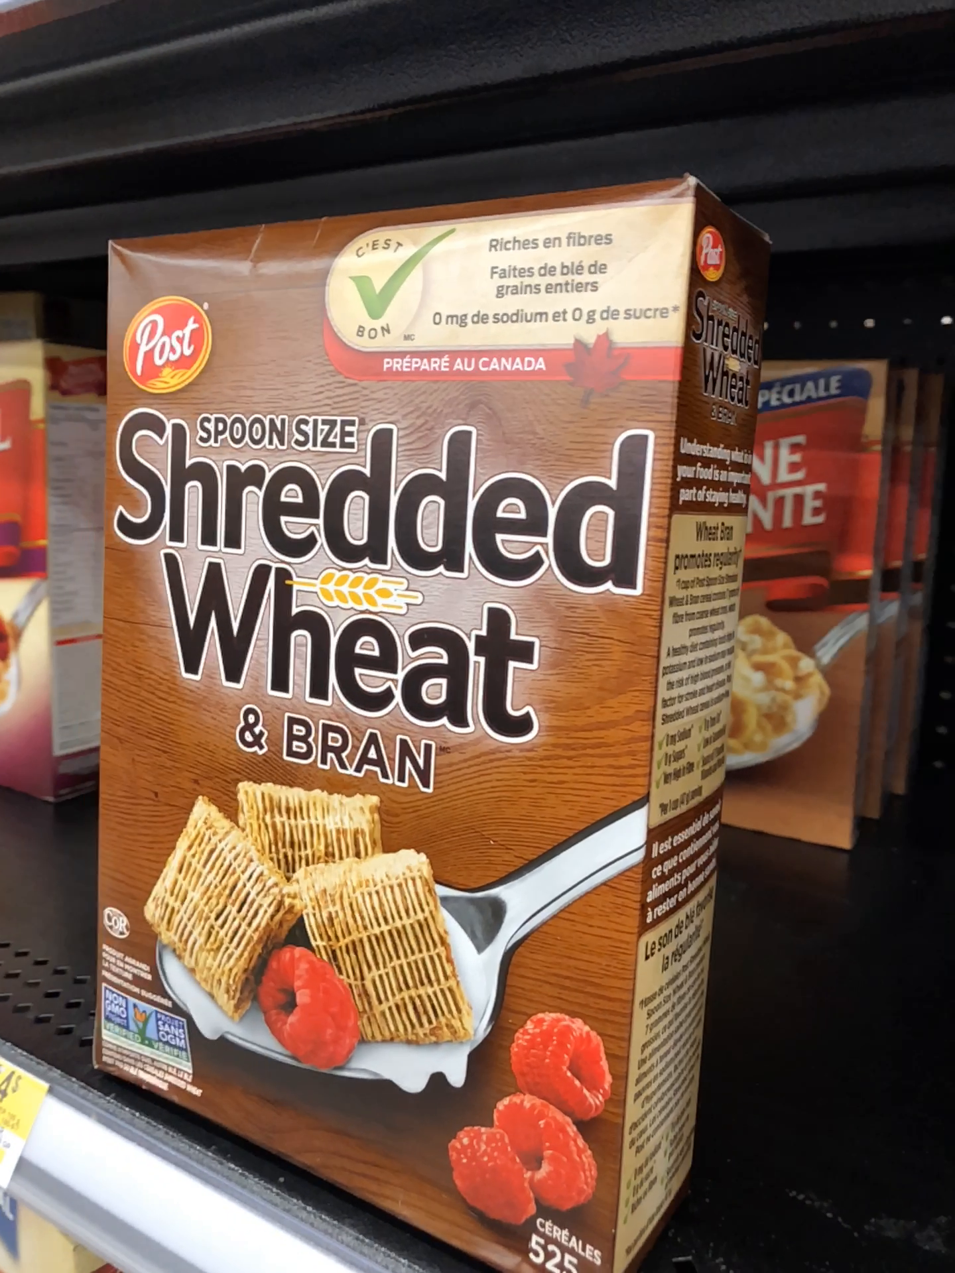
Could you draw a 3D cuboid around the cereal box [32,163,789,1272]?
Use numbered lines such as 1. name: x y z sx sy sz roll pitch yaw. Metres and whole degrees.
1. cereal box: -0.035 0.018 0.307 0.210 0.259 0.060 8 9 31
